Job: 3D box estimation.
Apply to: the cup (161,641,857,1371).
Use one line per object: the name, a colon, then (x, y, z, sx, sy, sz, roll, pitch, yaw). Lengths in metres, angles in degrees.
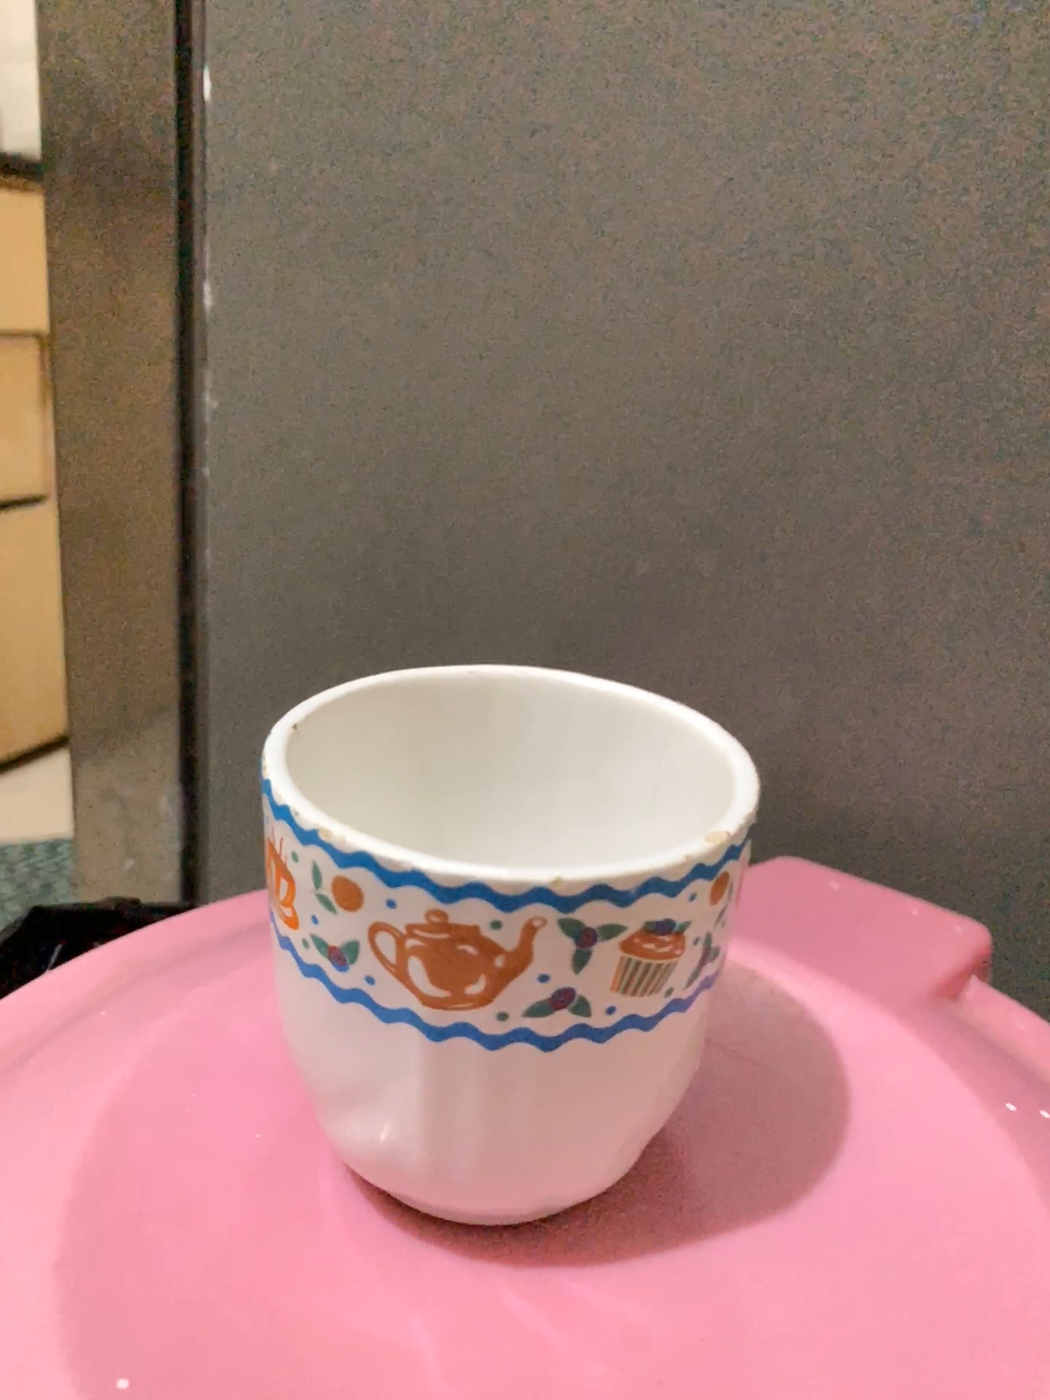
cup: (-0.006, 0.033, 0.165, 0.070, 0.060, 0.070, 5, 19, -2)
